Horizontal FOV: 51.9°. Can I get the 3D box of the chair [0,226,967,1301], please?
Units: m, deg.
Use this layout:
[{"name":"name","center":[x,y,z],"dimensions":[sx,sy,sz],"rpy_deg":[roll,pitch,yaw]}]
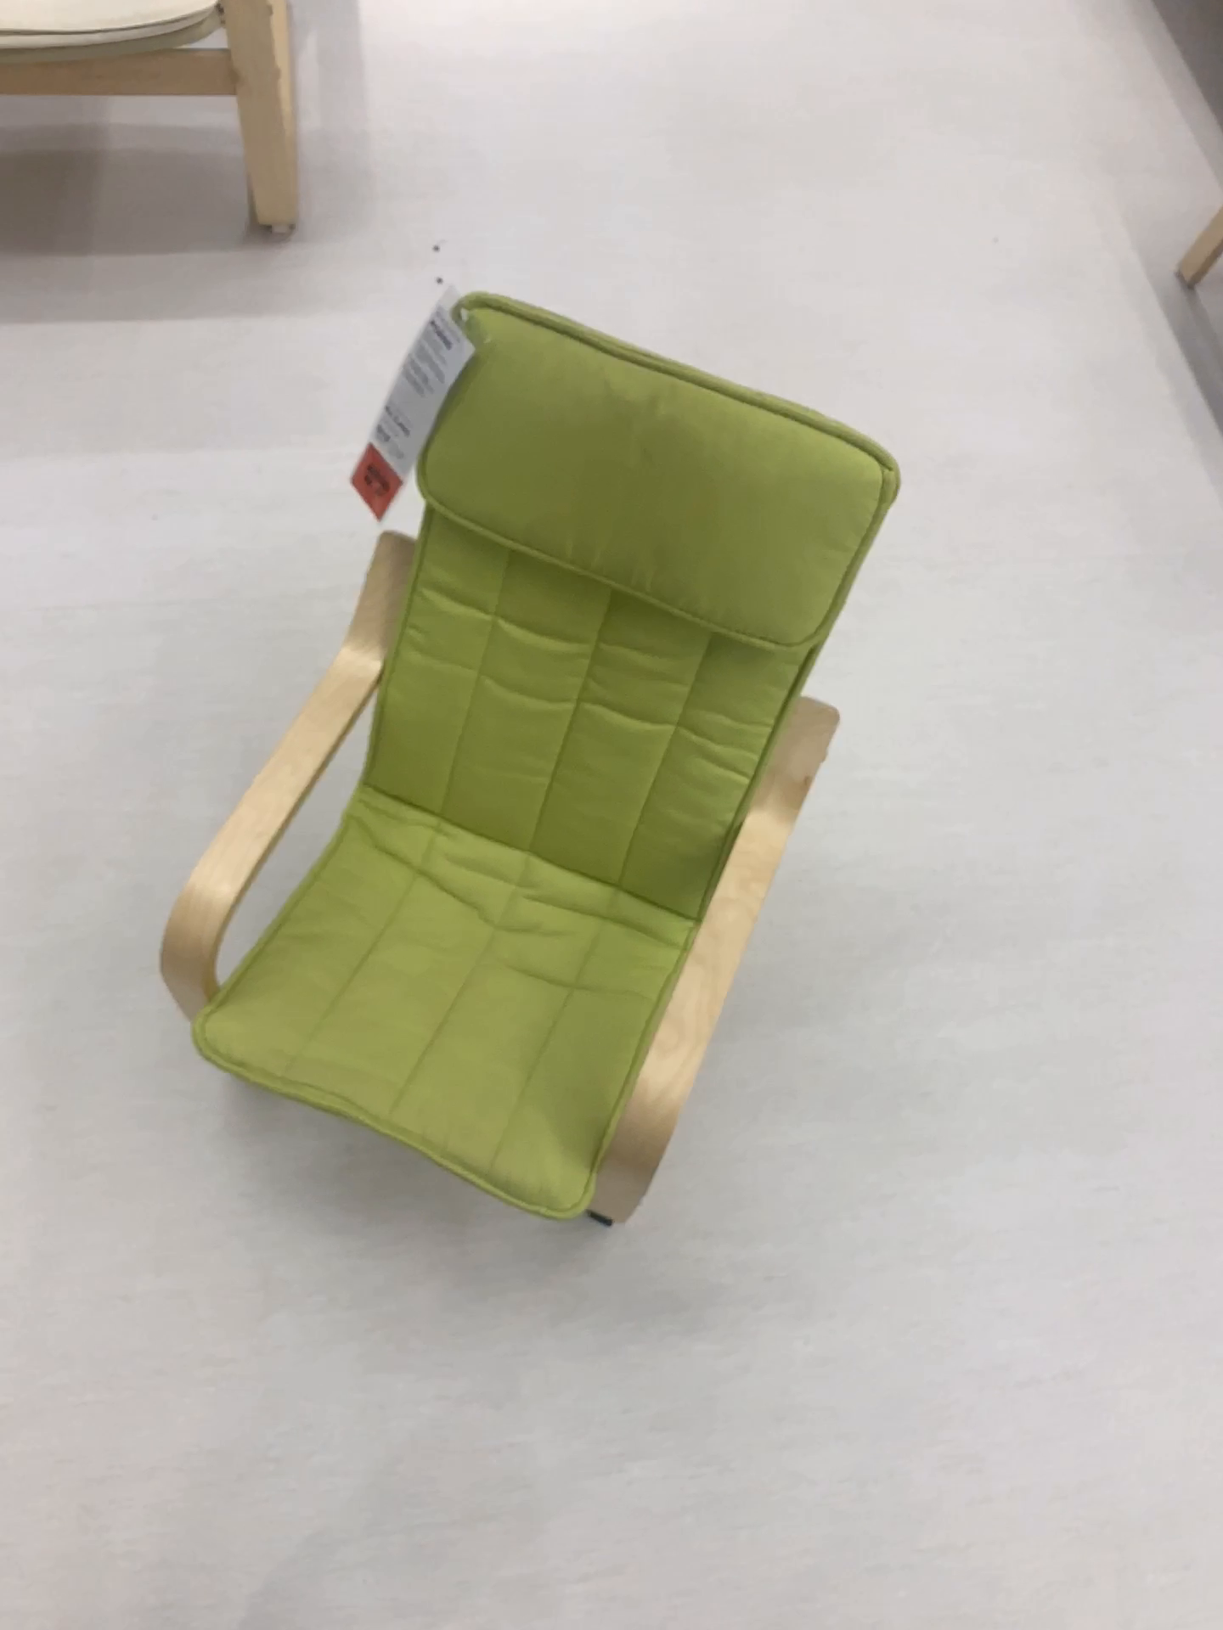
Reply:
[{"name":"chair","center":[-0.113,0.041,1.217],"dimensions":[0.520,0.819,0.571],"rpy_deg":[21,63,4]}]
